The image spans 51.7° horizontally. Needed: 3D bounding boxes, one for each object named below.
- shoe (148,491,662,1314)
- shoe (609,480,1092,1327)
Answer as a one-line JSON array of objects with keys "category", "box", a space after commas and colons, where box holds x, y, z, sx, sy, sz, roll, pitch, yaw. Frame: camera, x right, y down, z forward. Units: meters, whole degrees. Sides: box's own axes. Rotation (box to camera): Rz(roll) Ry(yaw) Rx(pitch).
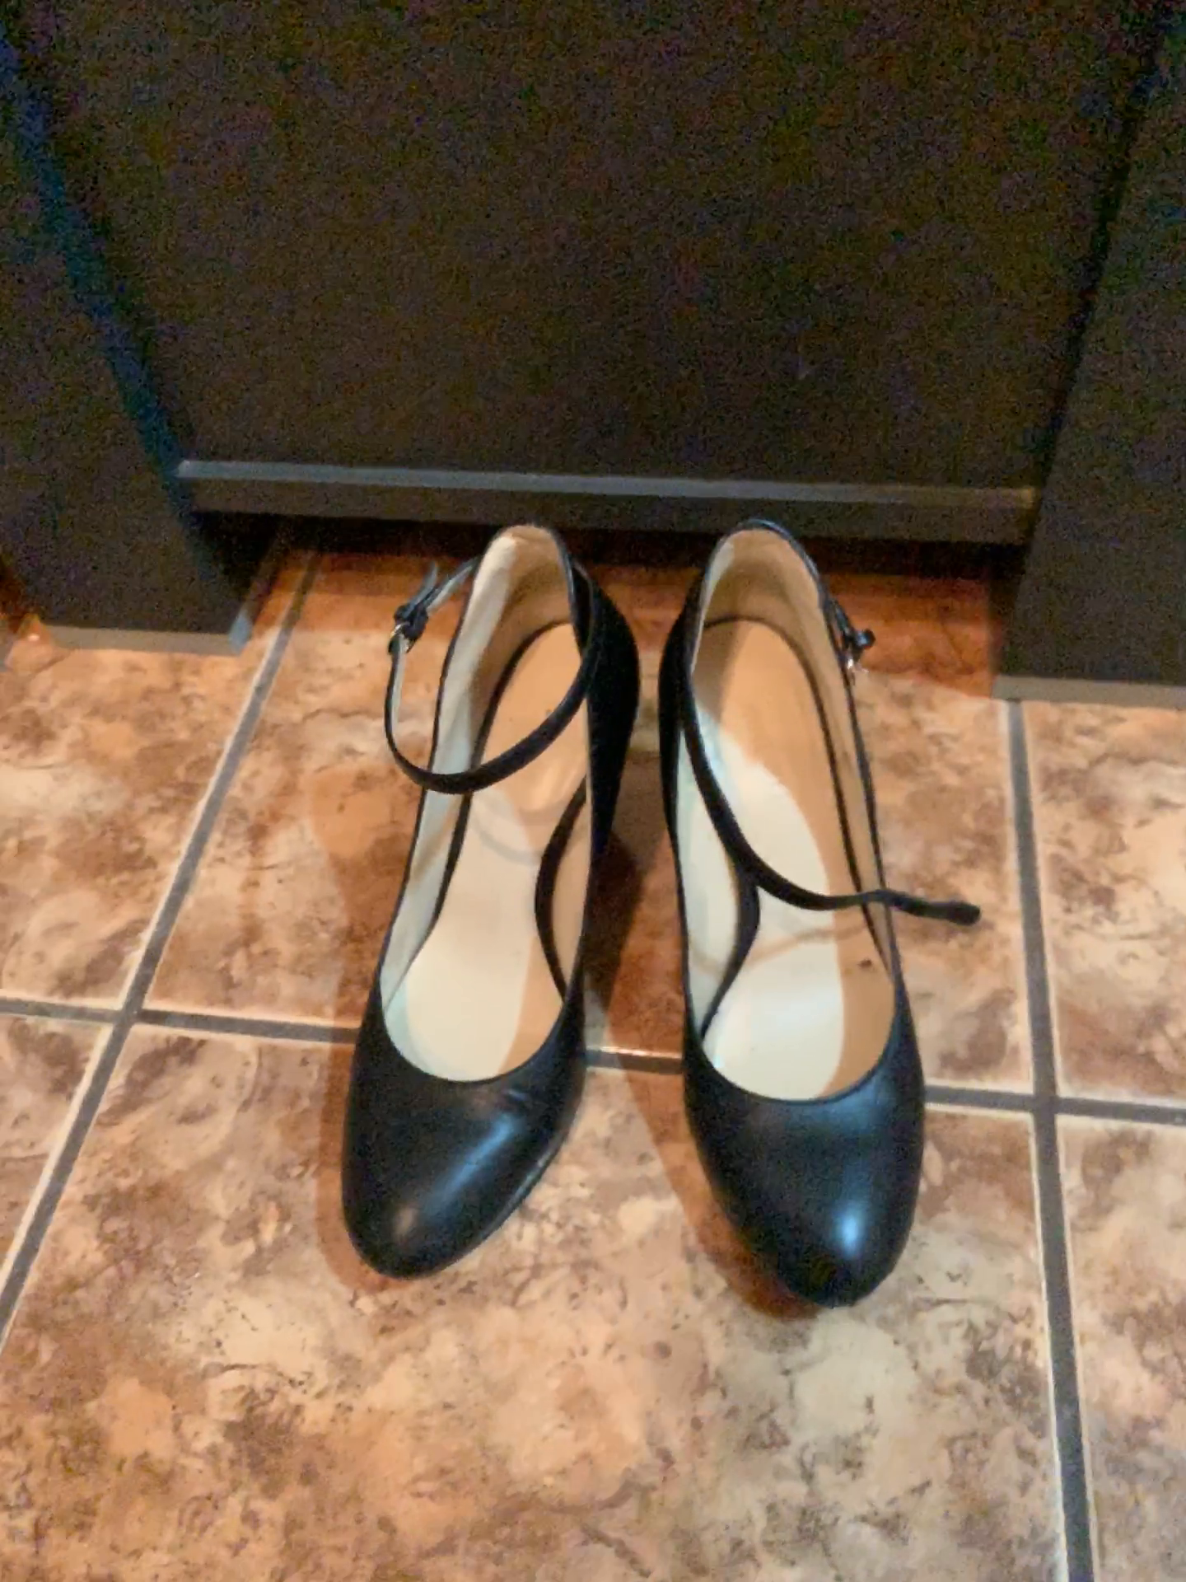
[{"category": "shoe", "box": [-0.036, 0.035, 0.393, 0.079, 0.159, 0.201, 7, 53, 11]}, {"category": "shoe", "box": [0.059, 0.031, 0.375, 0.087, 0.140, 0.210, -5, 52, 1]}]
